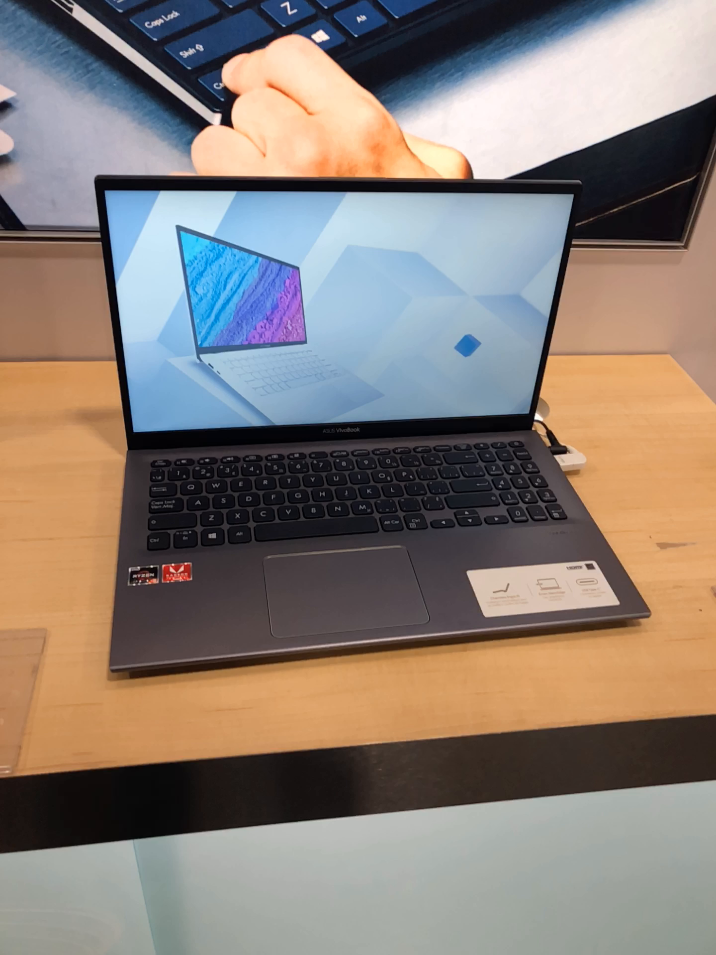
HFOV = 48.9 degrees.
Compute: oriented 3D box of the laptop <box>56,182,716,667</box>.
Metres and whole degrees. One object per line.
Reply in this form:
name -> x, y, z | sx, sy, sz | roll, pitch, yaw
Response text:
laptop -> 0.013, -0.052, 0.528 | 0.349, 0.211, 0.243 | -3, 37, -10
